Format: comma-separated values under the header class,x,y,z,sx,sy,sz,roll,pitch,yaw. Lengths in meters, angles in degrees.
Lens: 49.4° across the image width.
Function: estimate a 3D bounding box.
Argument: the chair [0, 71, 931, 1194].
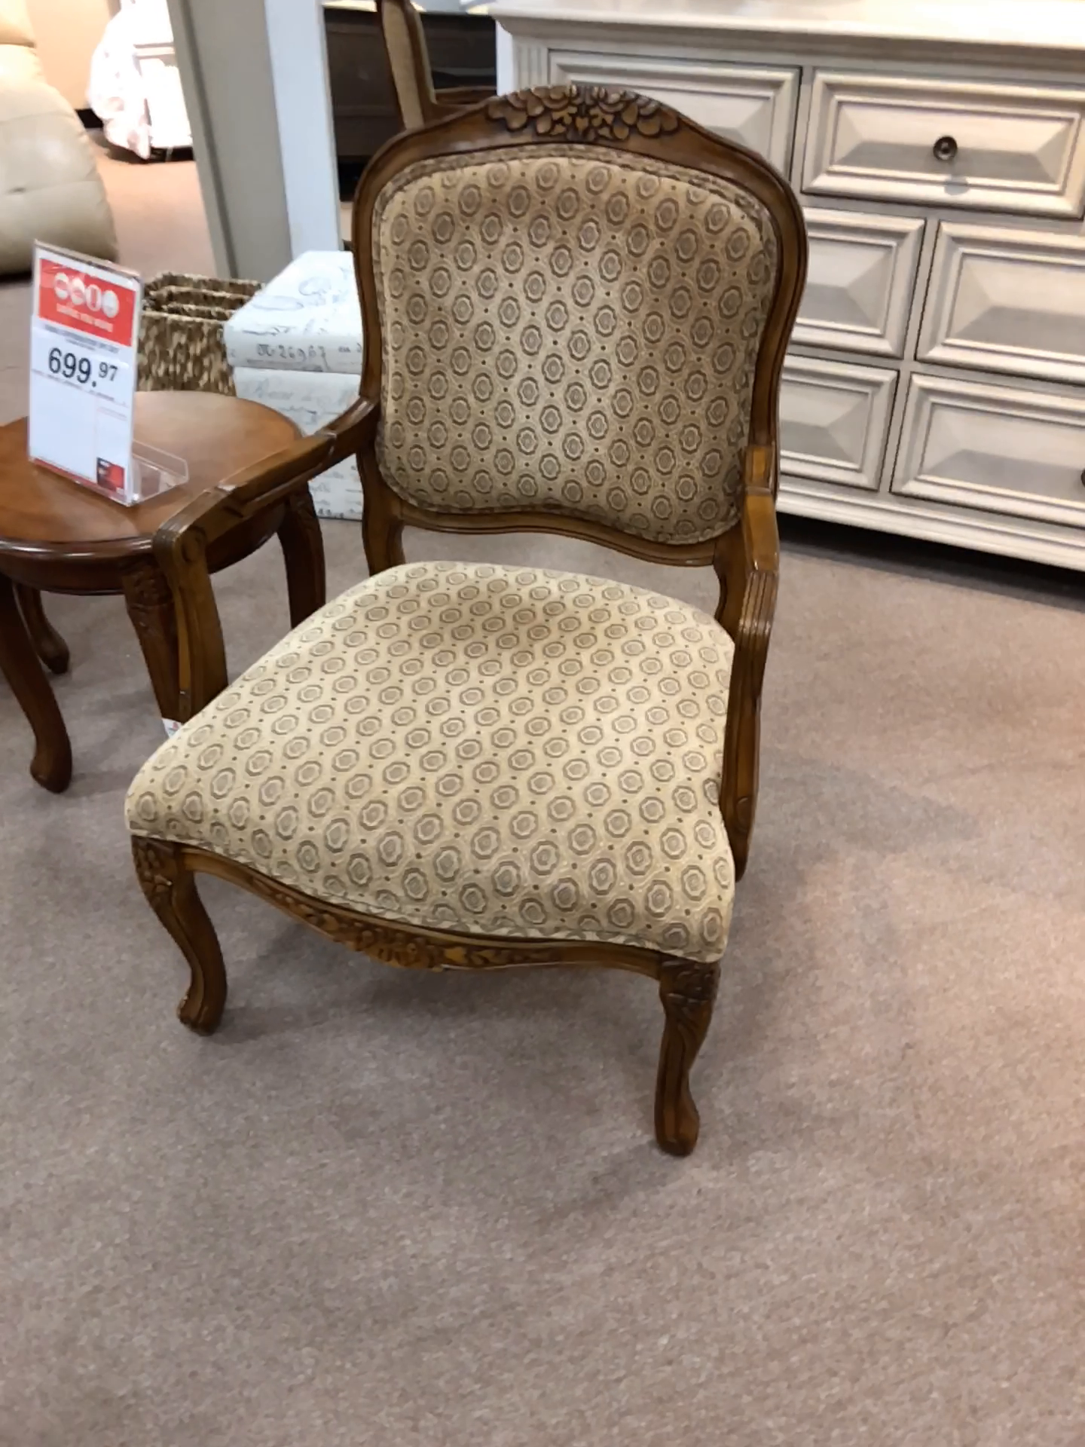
class,x,y,z,sx,sy,sz,roll,pitch,yaw
chair,-0.042,-0.132,1.458,0.781,1.062,0.704,10,39,14
